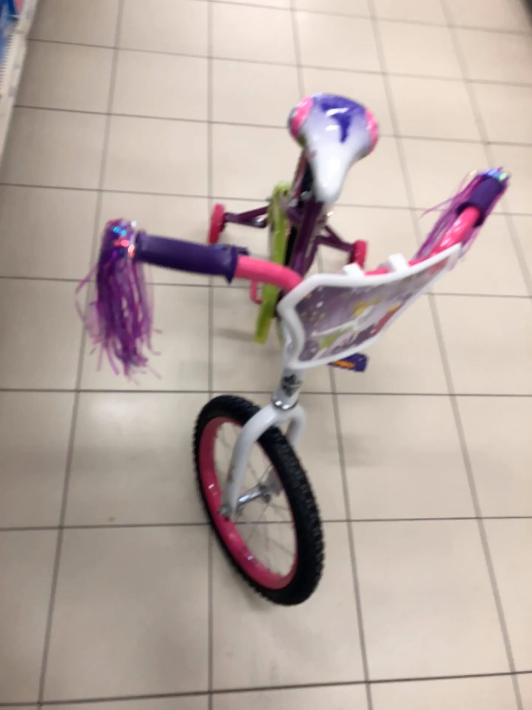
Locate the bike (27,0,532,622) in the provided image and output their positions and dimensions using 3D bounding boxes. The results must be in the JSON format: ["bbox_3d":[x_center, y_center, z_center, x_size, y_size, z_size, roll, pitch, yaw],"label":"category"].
[{"bbox_3d":[0.103,-0.165,1.020,0.594,0.811,1.071,7,62,-6],"label":"bike"}]
